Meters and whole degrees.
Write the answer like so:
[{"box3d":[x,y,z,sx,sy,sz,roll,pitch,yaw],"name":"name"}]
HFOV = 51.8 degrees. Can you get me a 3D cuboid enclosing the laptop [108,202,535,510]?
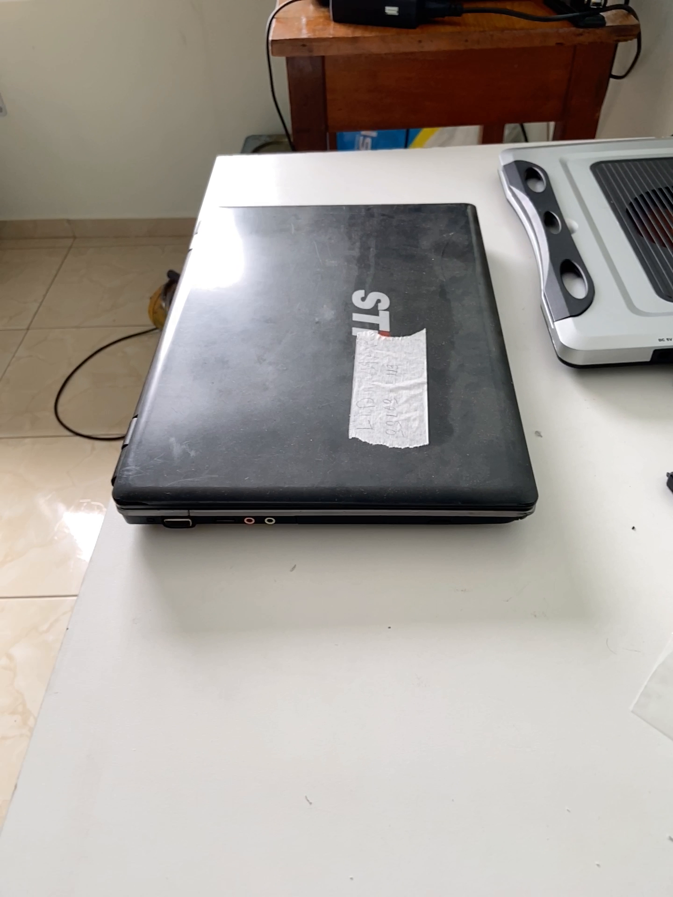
[{"box3d":[-0.003,-0.092,0.498,0.234,0.006,0.339,0,46,3],"name":"laptop"}]
